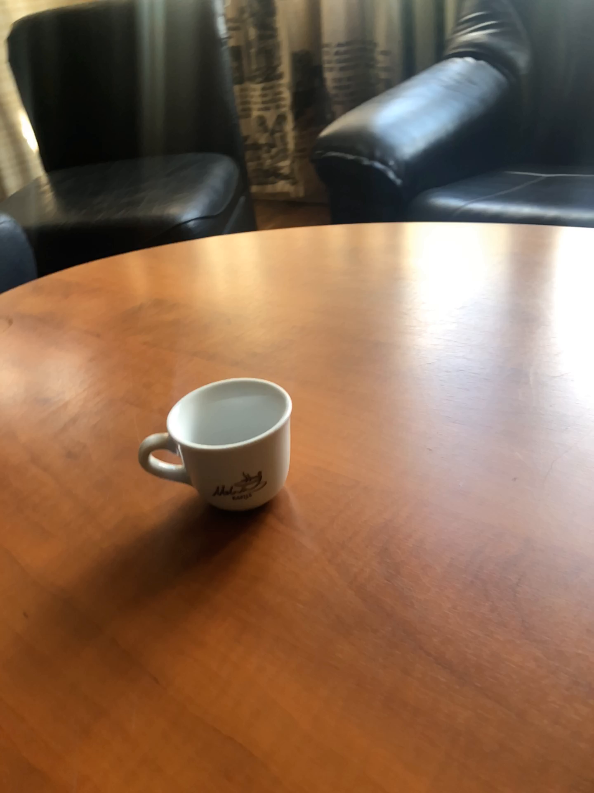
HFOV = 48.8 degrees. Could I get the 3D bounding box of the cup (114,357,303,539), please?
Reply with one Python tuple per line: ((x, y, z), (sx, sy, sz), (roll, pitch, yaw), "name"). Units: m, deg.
((-0.048, 0.024, 0.342), (0.083, 0.050, 0.065), (-13, 32, -8), "cup")
